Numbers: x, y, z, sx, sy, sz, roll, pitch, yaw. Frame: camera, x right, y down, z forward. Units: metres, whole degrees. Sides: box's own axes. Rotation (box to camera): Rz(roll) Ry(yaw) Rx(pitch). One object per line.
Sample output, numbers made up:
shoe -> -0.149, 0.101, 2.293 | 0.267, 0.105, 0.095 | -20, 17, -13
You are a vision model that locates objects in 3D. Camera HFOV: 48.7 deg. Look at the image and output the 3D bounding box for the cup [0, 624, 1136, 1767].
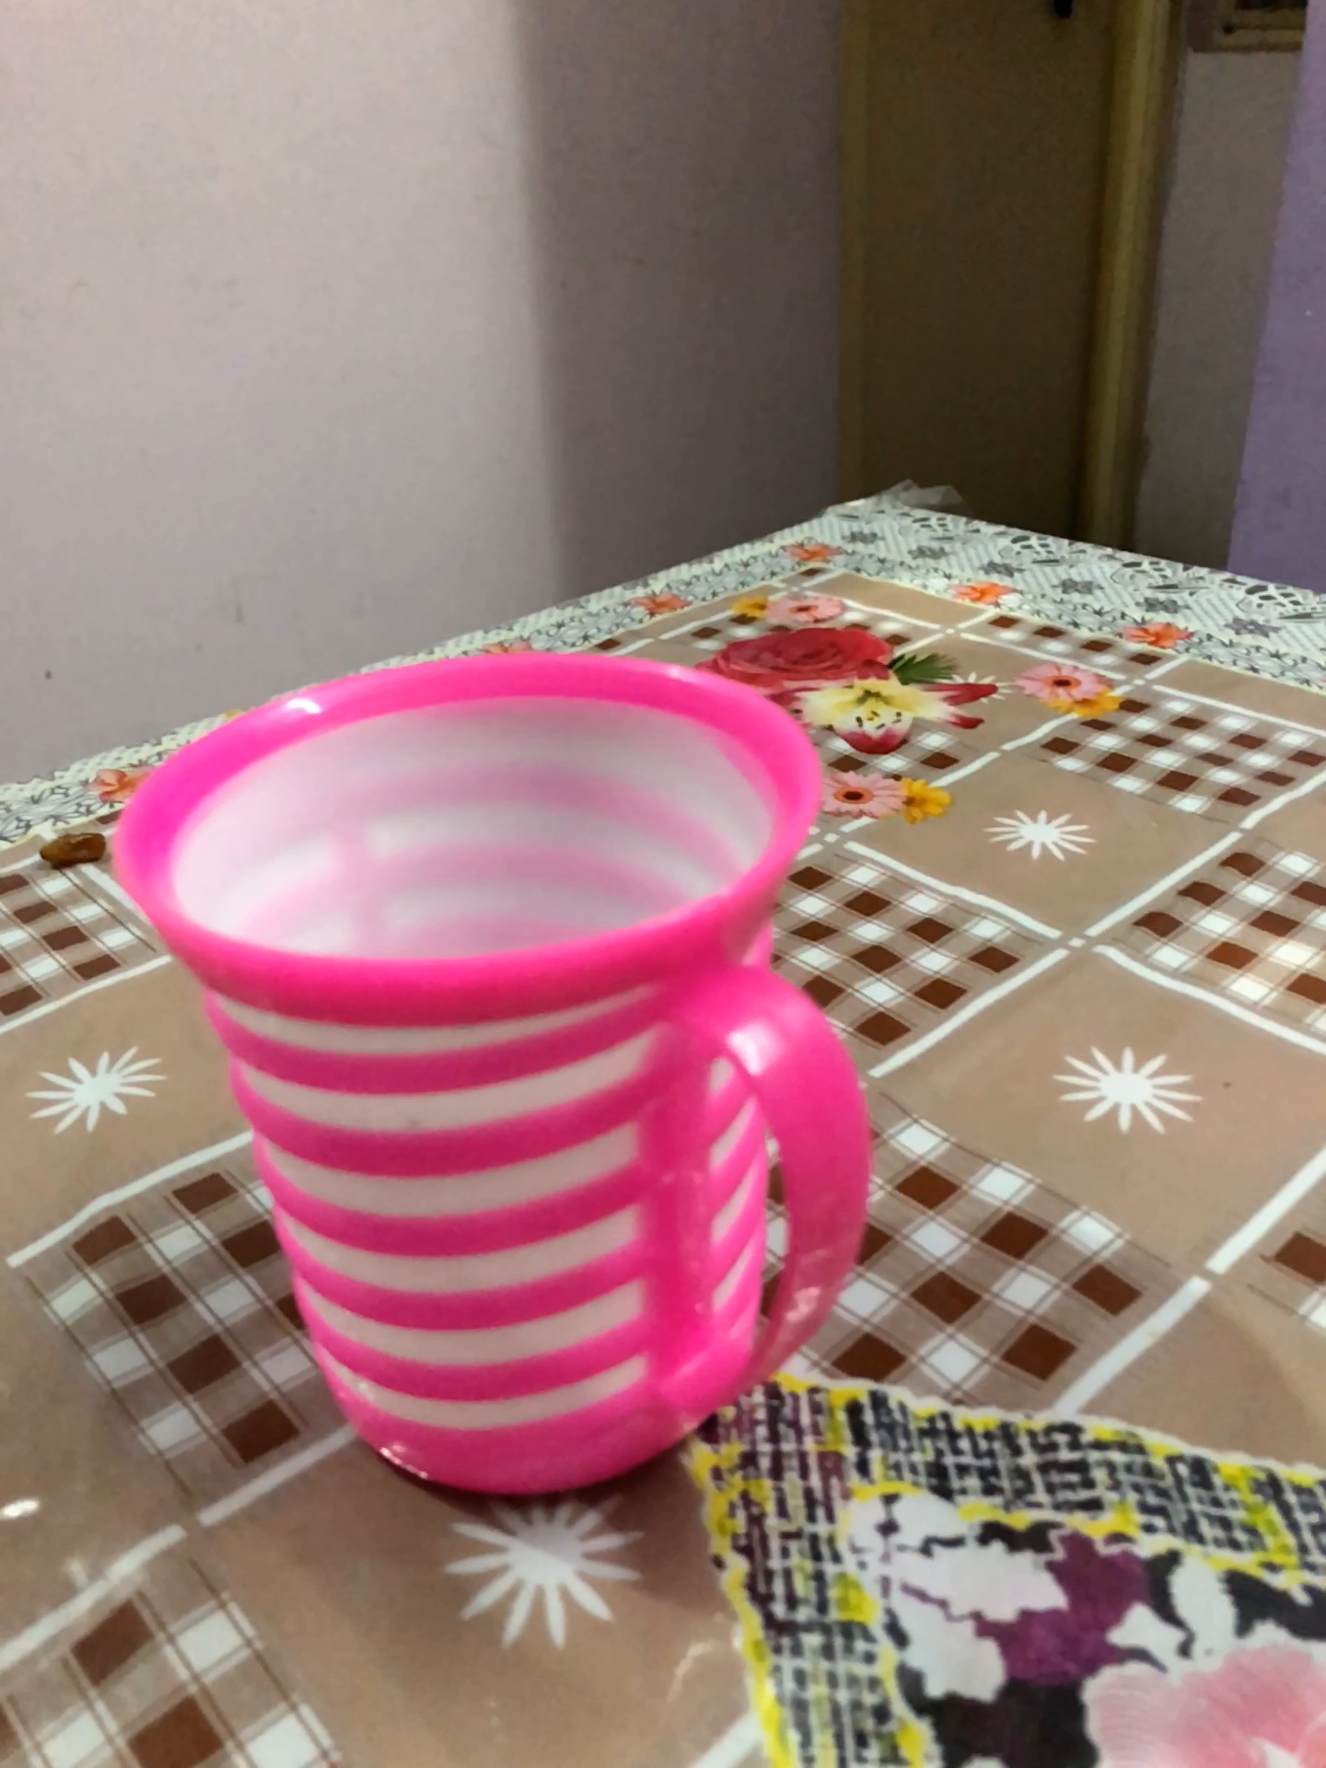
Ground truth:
cup -> -0.012, 0.030, 0.187 | 0.110, 0.089, 0.080 | 17, 35, 31
